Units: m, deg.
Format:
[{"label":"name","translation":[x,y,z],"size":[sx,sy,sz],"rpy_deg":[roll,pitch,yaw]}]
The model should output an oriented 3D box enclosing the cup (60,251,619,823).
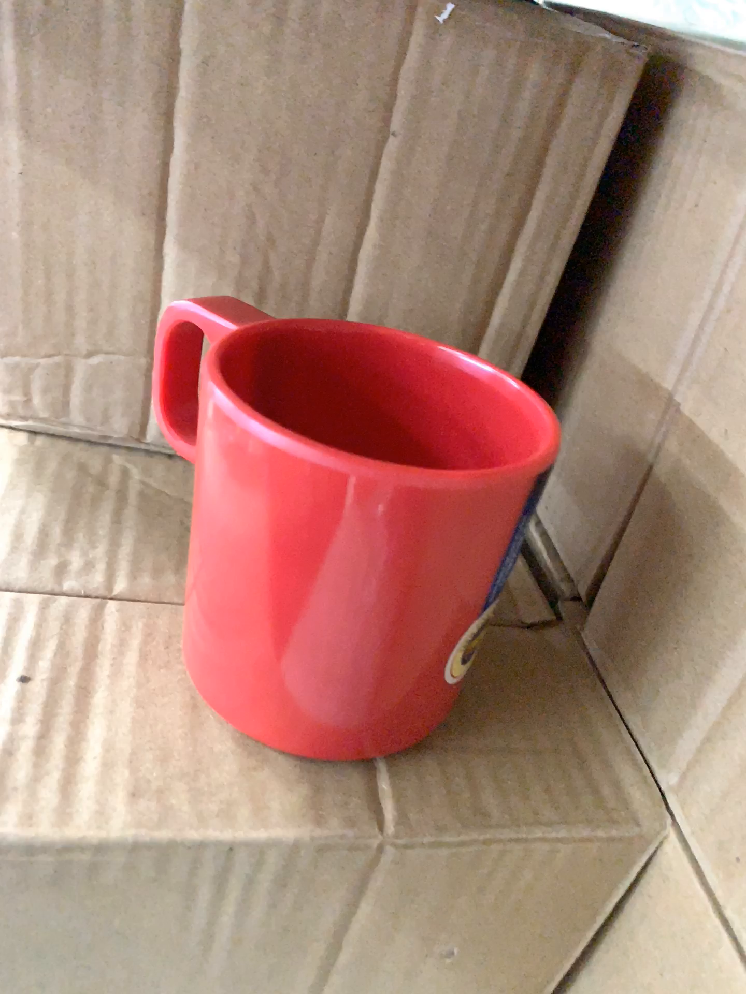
[{"label":"cup","translation":[-0.016,-0.002,0.181],"size":[0.065,0.073,0.104],"rpy_deg":[-19,44,-41]}]
